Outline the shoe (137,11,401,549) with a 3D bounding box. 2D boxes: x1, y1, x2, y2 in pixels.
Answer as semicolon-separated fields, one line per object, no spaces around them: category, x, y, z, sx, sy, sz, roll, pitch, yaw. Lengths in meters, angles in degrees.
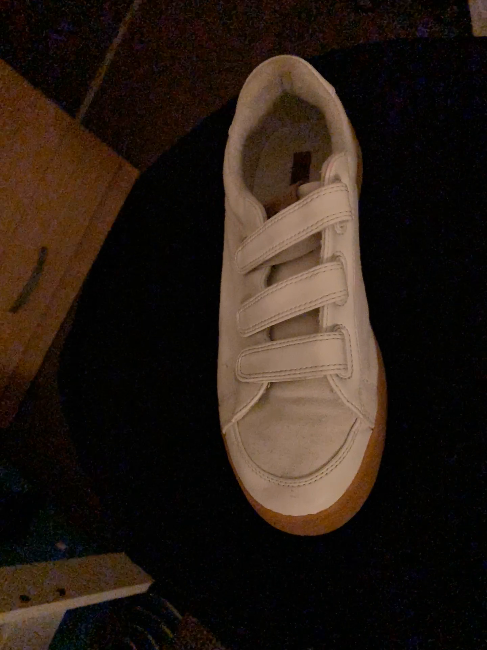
shoe;0.016;-0.024;0.274;0.096;0.080;0.255;-10;68;28
